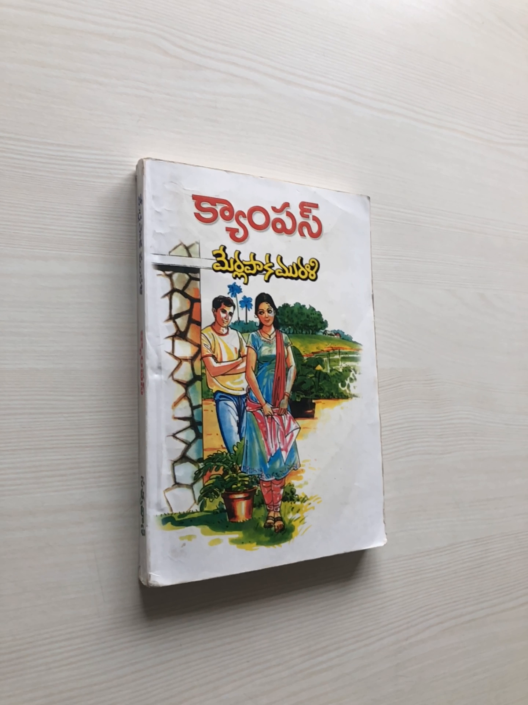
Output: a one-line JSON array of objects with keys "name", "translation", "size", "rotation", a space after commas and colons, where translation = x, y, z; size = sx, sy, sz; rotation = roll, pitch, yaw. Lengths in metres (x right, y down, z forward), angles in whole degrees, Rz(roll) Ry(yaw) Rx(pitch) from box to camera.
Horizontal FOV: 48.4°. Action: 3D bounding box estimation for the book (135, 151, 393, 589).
[{"name": "book", "translation": [0.003, 0.006, 0.254], "size": [0.113, 0.016, 0.163], "rotation": [1, 85, -29]}]
